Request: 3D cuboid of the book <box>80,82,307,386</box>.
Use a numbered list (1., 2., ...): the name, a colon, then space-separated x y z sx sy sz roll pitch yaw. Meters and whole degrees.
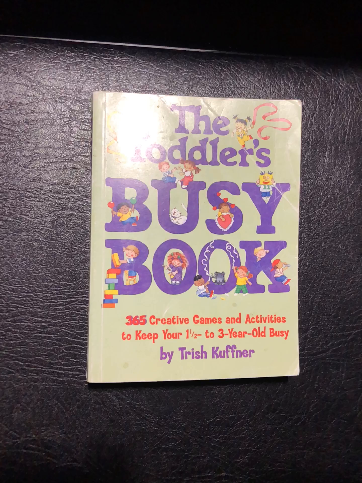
1. book: 0.007 -0.005 0.257 0.136 0.033 0.176 0 87 -8
